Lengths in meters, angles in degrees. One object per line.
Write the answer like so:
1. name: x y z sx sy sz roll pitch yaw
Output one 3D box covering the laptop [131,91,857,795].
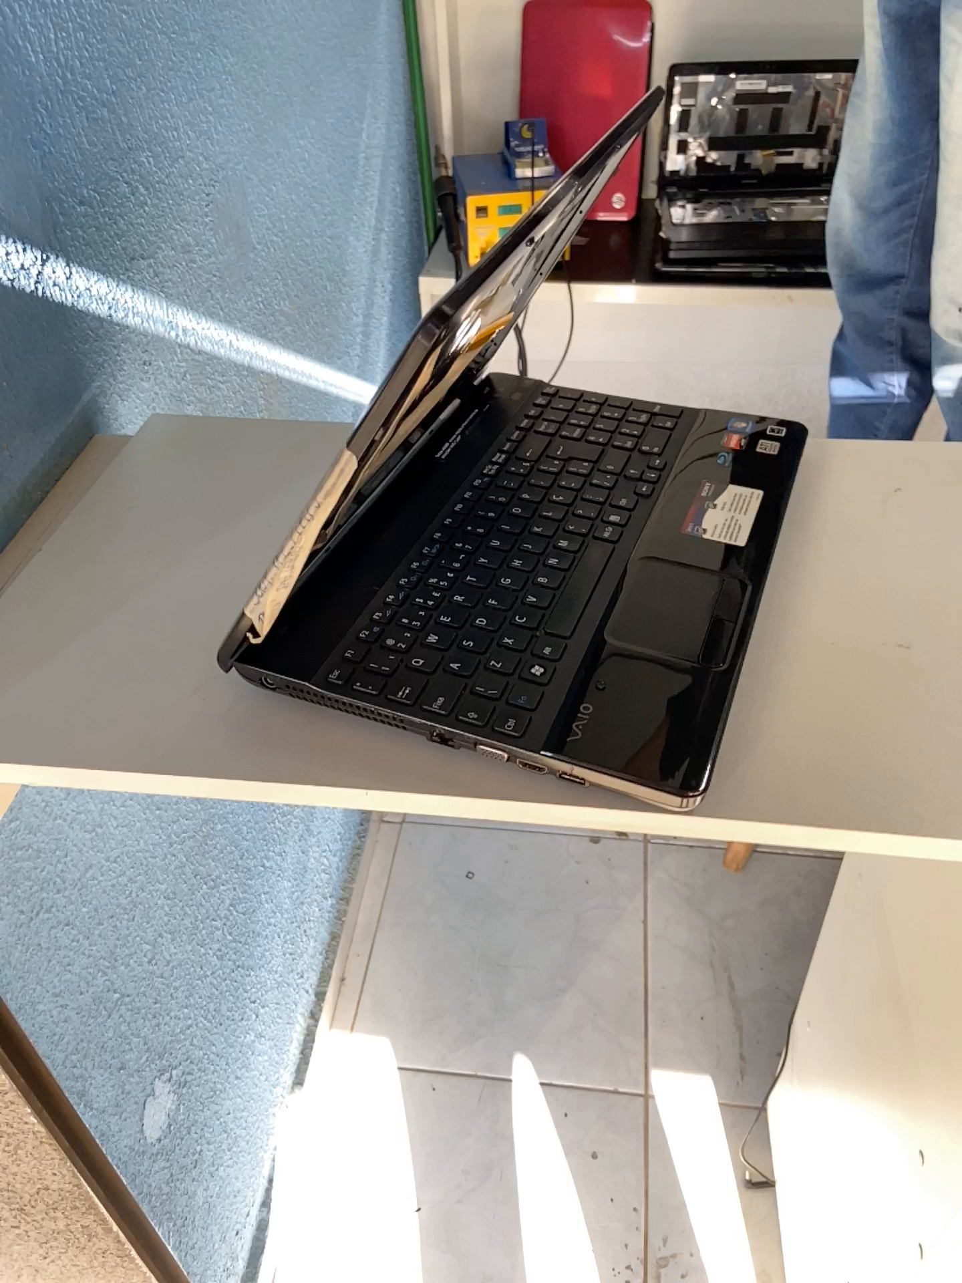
1. laptop: 0.046 -0.146 0.543 0.241 0.193 0.366 13 42 17
